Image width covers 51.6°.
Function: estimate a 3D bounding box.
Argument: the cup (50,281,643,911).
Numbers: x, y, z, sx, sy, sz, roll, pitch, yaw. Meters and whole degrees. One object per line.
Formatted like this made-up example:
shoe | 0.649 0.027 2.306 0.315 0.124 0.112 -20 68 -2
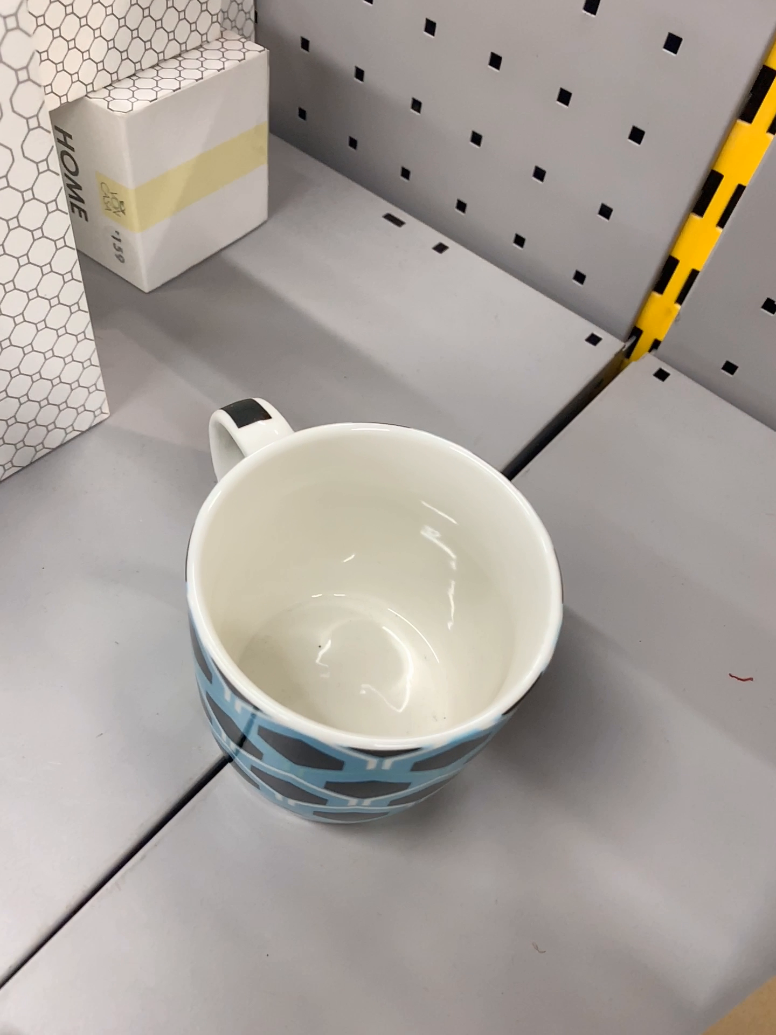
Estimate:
cup | -0.019 0.019 0.221 0.090 0.090 0.120 -23 62 -23
